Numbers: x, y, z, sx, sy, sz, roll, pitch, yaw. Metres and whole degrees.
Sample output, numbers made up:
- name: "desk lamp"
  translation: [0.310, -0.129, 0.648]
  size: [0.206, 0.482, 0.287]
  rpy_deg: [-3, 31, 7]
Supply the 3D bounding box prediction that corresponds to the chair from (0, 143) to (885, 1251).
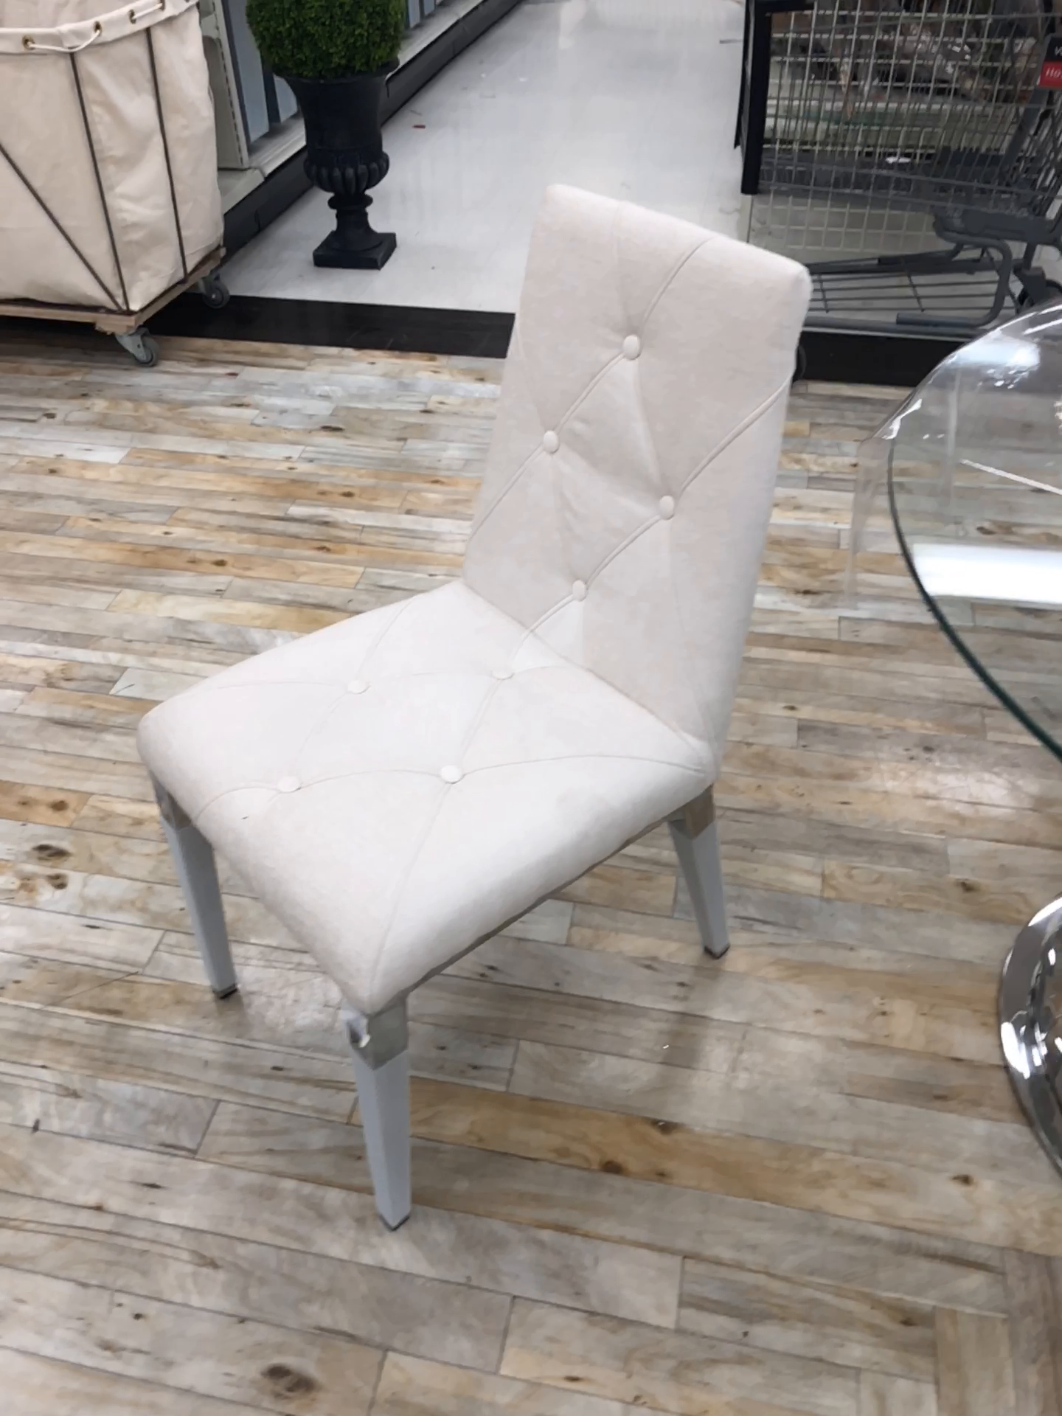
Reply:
- name: "chair"
  translation: [-0.086, -0.007, 1.208]
  size: [0.571, 0.887, 0.471]
  rpy_deg: [-26, 46, -27]
